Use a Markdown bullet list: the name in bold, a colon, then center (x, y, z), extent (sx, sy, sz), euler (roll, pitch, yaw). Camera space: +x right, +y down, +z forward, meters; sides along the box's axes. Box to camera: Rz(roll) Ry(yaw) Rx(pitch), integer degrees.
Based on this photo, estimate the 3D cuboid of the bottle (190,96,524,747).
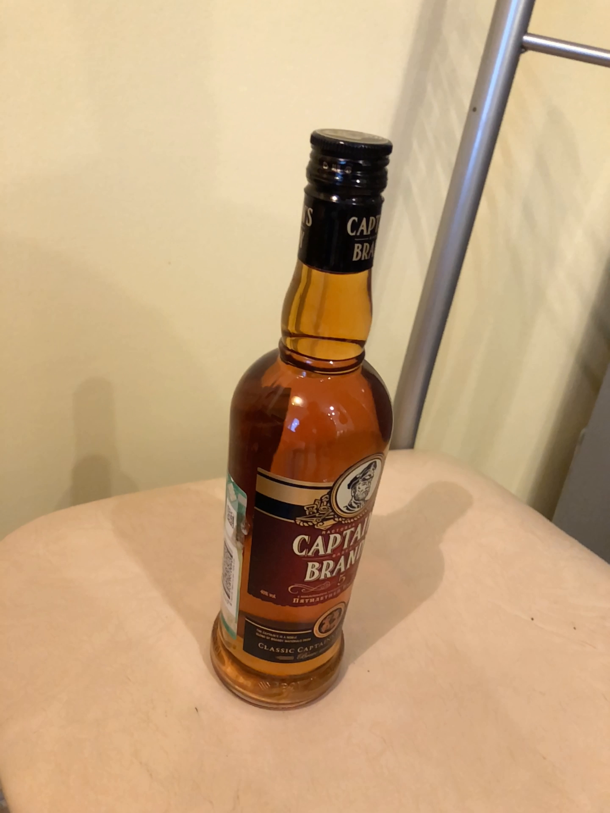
- **bottle**: center (0.006, 0.017, 0.283), extent (0.080, 0.258, 0.070), euler (-20, 40, -37)
